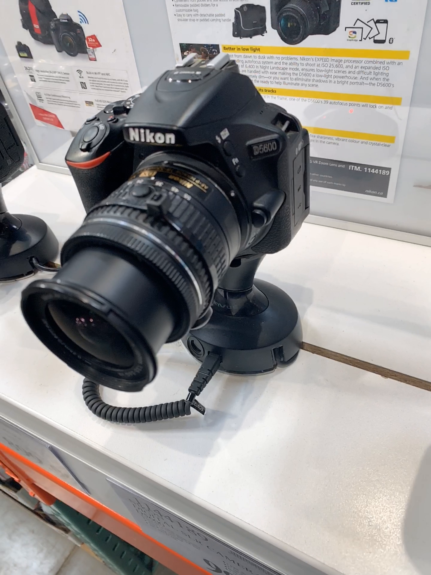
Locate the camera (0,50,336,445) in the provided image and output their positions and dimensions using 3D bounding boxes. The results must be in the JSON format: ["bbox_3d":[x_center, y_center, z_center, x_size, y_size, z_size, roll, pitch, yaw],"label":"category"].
[{"bbox_3d":[-0.023,-0.033,0.197,0.111,0.090,0.141,14,48,24],"label":"camera"}]
